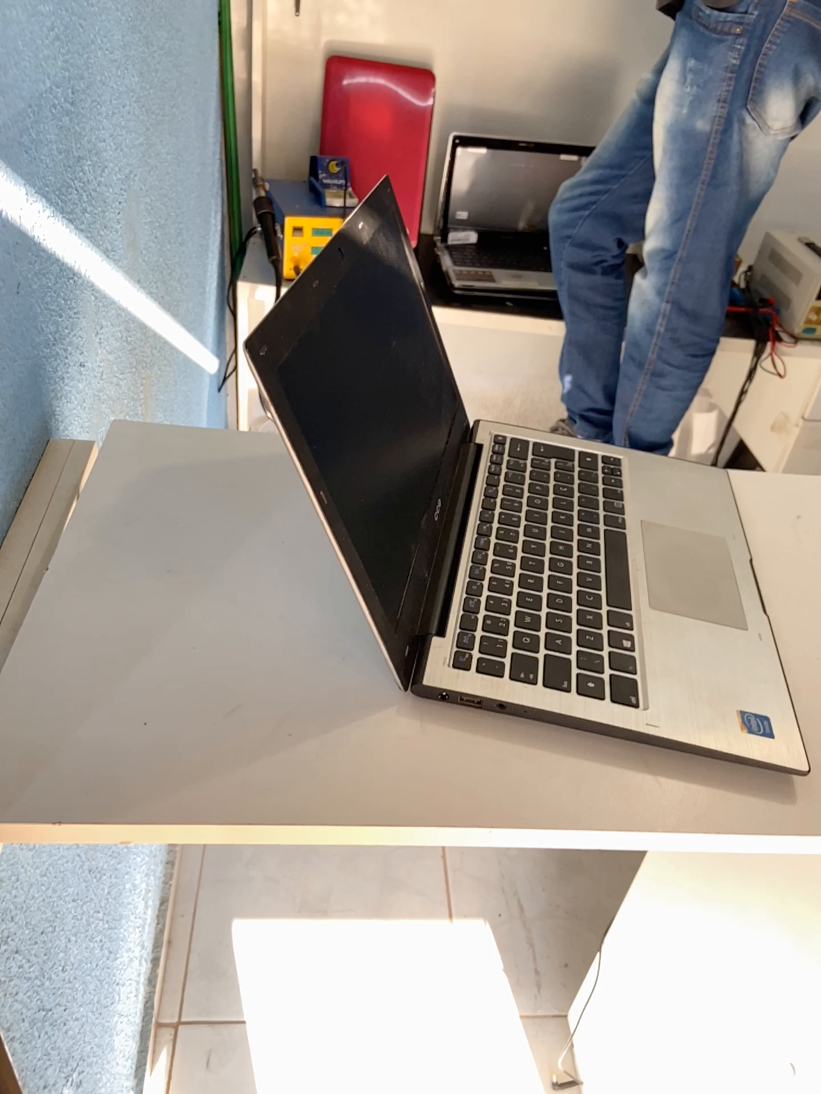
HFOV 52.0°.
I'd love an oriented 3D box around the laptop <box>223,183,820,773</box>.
[{"bbox_3d":[0.086,-0.072,0.523,0.303,0.181,0.315,11,36,4],"label":"laptop"}]
